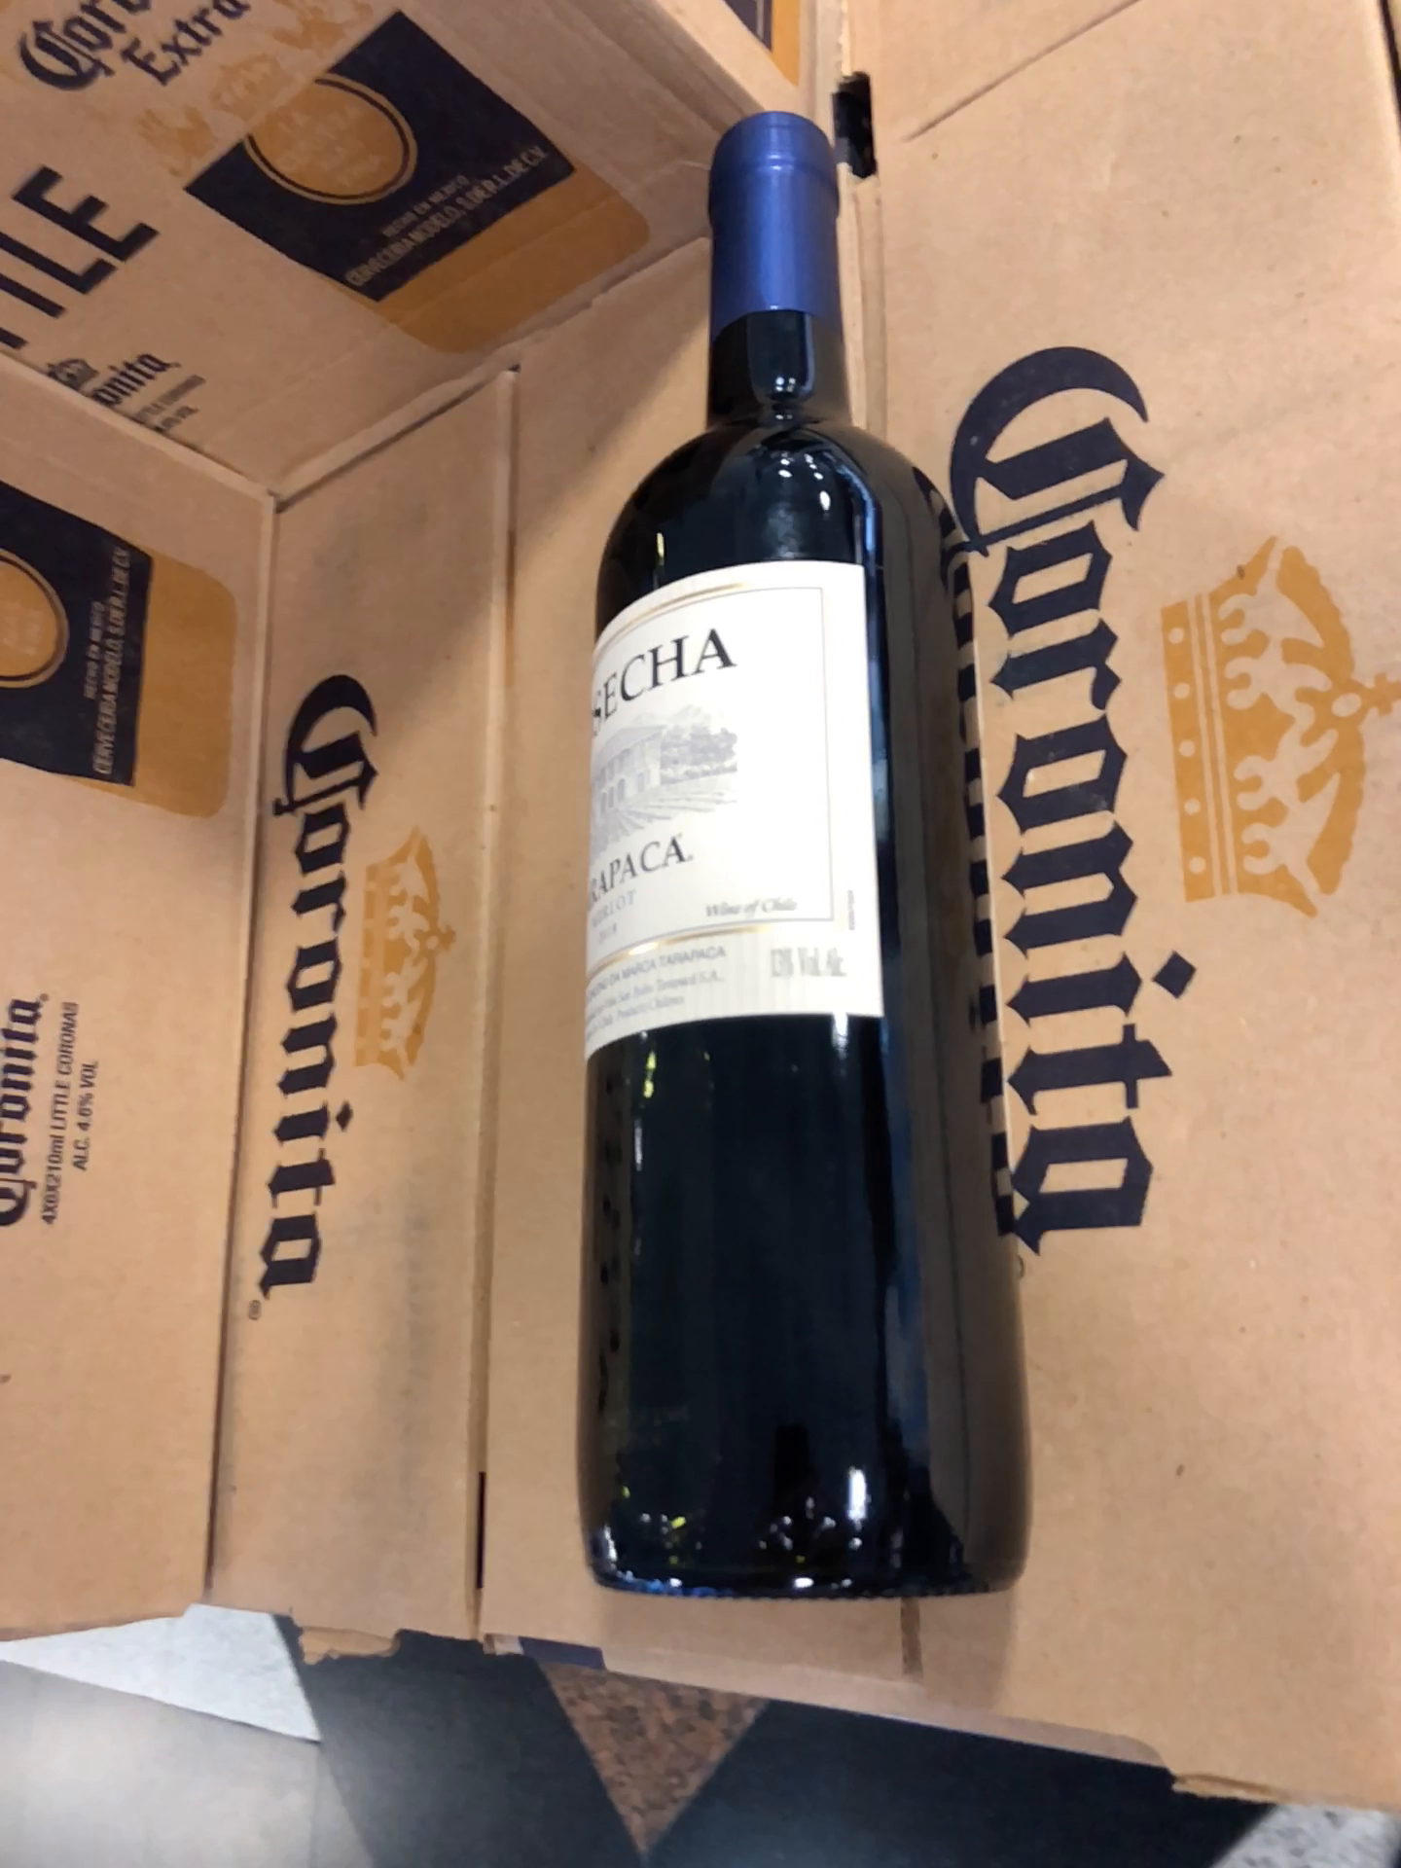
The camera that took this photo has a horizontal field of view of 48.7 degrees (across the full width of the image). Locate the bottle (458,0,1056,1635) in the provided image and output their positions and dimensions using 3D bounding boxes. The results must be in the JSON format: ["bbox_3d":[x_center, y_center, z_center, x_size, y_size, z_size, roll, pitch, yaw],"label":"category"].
[{"bbox_3d":[0.012,-0.049,0.296,0.070,0.060,0.331,-11,64,26],"label":"bottle"}]
